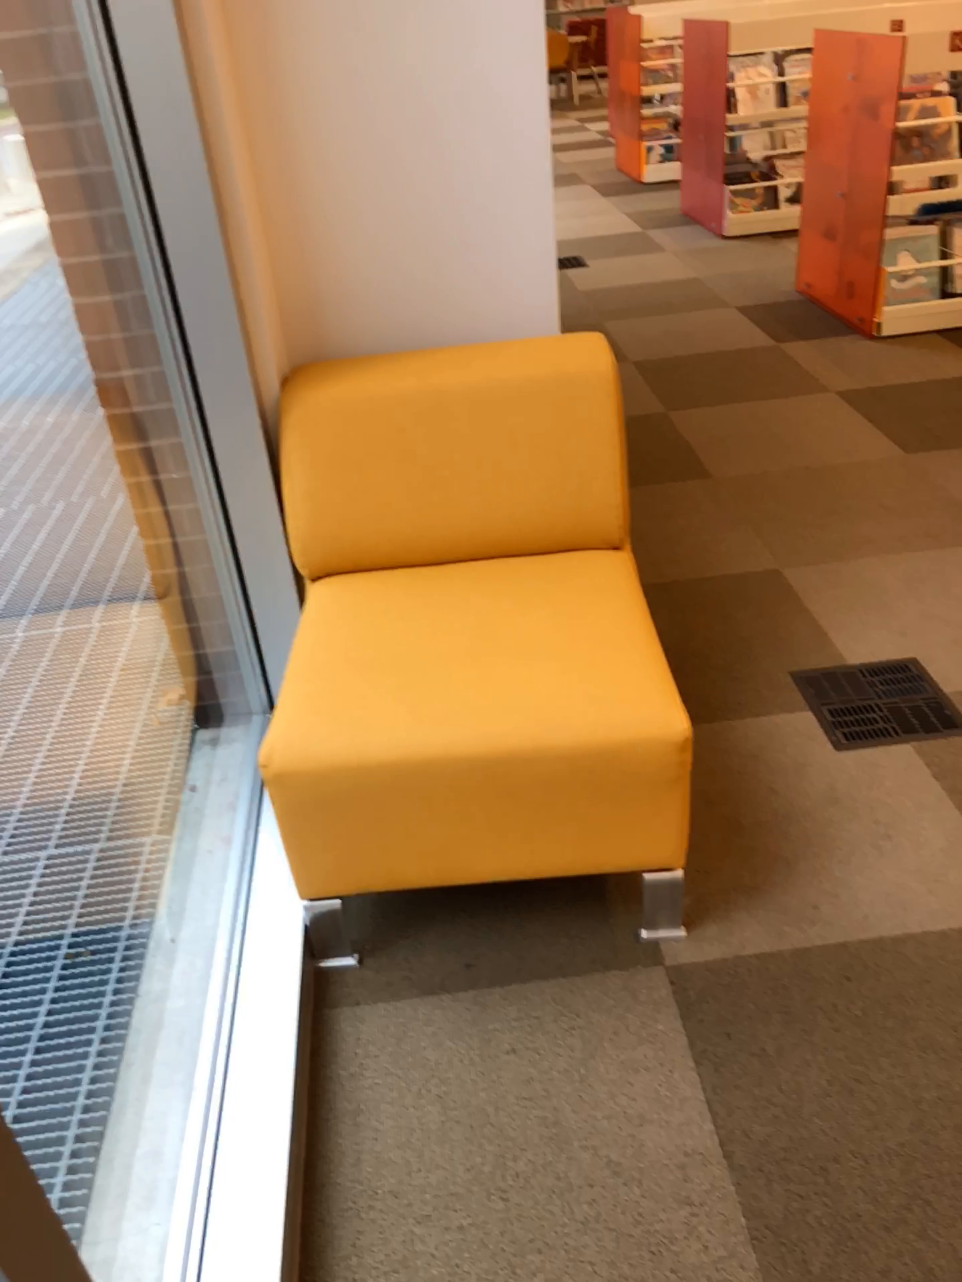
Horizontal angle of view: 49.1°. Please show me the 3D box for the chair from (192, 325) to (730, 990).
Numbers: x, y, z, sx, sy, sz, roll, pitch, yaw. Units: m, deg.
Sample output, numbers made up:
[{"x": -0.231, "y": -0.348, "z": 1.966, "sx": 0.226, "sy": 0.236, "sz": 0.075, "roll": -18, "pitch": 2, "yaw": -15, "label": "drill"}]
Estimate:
[{"x": -0.012, "y": -0.035, "z": 1.907, "sx": 0.672, "sy": 0.751, "sz": 0.949, "roll": -6, "pitch": 31, "yaw": 1, "label": "chair"}]
